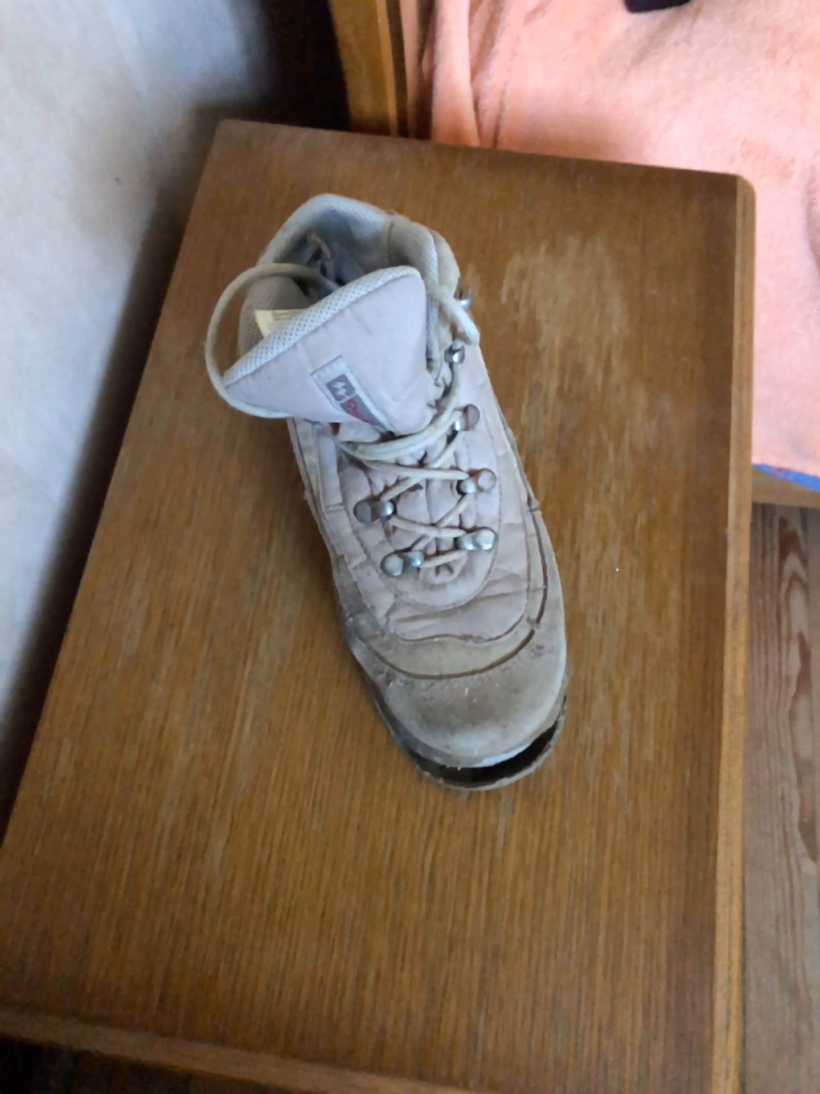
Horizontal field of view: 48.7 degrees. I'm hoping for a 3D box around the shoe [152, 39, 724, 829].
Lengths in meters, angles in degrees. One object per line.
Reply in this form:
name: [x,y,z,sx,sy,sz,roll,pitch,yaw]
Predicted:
shoe: [-0.002,-0.047,0.398,0.130,0.140,0.291,-16,68,-4]
